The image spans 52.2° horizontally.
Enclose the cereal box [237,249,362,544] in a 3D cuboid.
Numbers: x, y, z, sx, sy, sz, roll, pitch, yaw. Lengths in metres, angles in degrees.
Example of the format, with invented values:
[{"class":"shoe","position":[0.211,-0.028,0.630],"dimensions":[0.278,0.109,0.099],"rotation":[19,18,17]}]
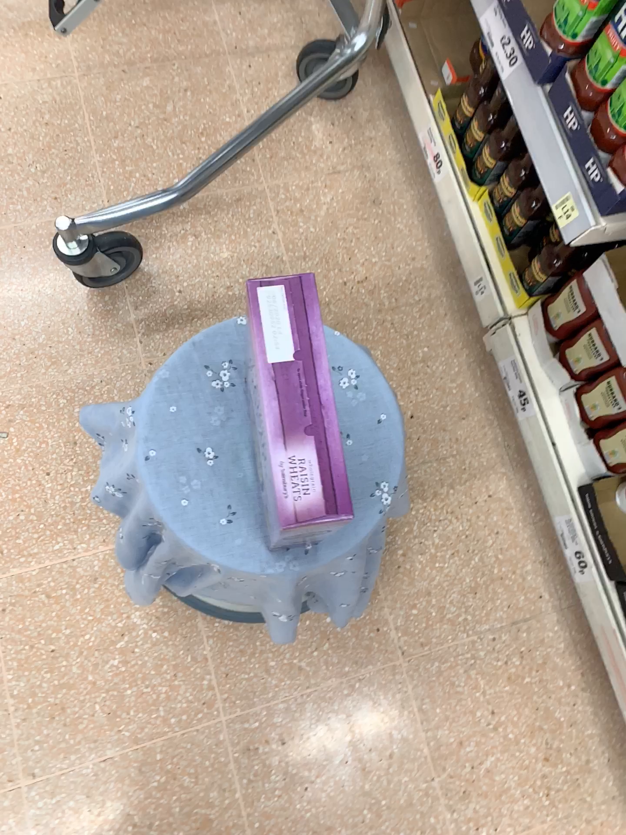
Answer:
[{"class":"cereal box","position":[-0.024,0.001,0.570],"dimensions":[0.060,0.239,0.200],"rotation":[-7,77,-8]}]
